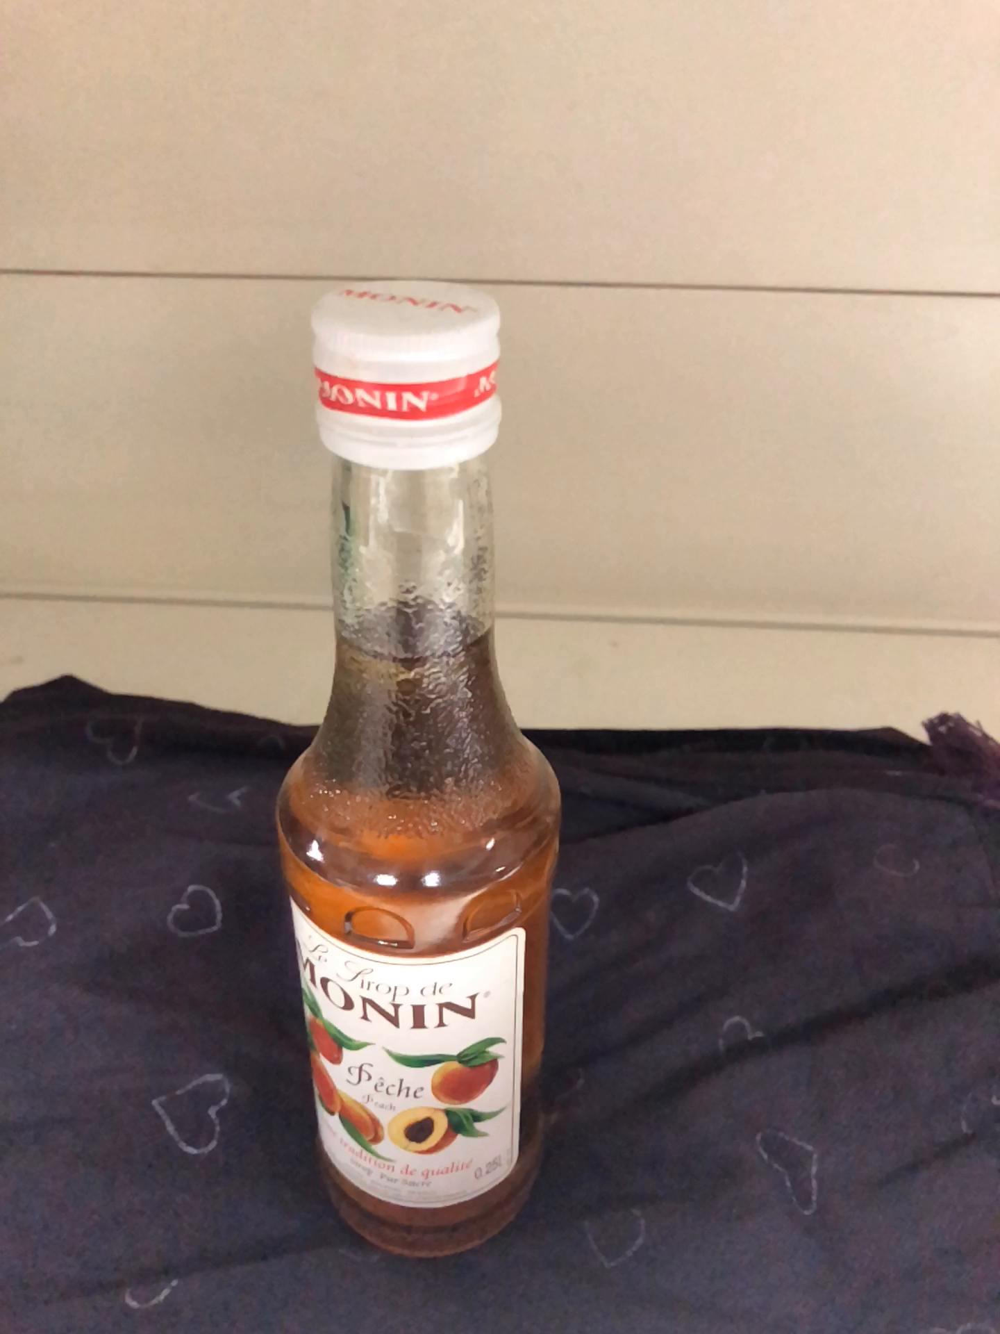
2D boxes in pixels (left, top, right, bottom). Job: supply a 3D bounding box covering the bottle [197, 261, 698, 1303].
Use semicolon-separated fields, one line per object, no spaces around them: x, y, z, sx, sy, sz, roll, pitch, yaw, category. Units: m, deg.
-0.006;0.033;0.233;0.060;0.209;0.060;0;31;0;bottle
